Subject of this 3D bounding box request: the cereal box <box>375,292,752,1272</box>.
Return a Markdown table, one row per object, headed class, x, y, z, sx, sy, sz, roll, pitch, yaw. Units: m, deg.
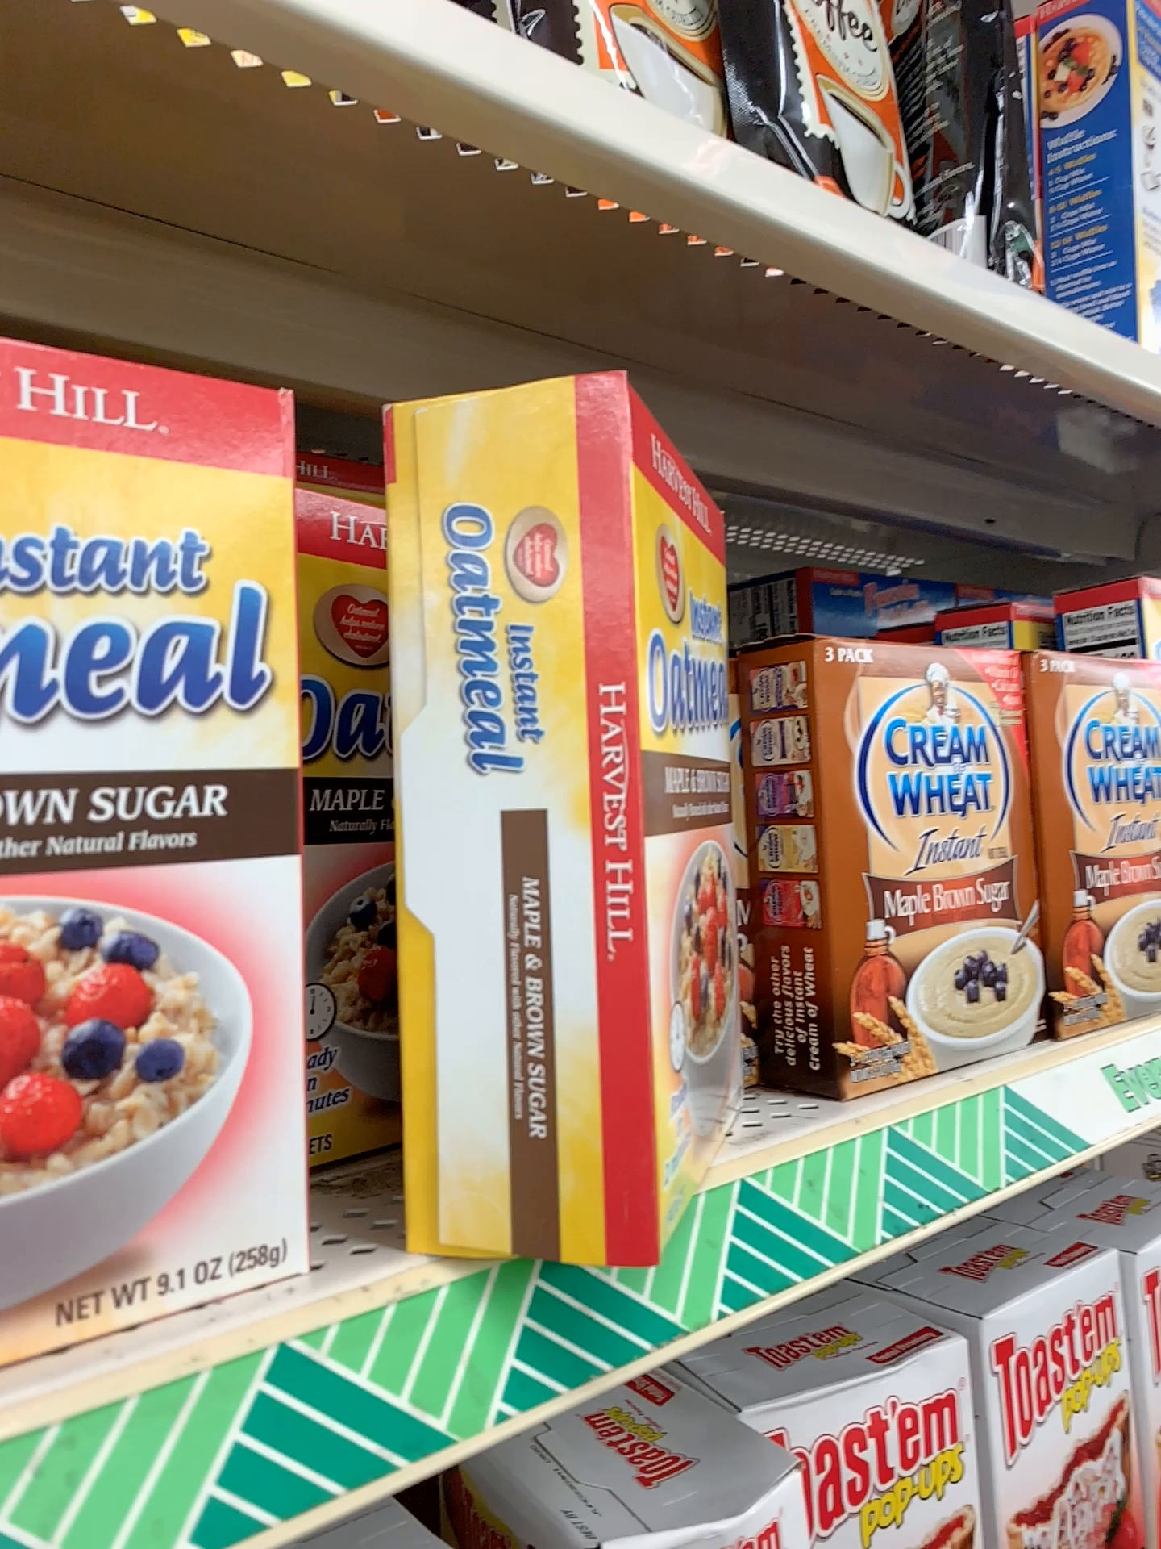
| class | x | y | z | sx | sy | sz | roll | pitch | yaw |
| --- | --- | --- | --- | --- | --- | --- | --- | --- | --- |
| cereal box | 0.004 | 0.002 | 0.289 | 0.050 | 0.180 | 0.130 | -3 | -2 | 15 |
